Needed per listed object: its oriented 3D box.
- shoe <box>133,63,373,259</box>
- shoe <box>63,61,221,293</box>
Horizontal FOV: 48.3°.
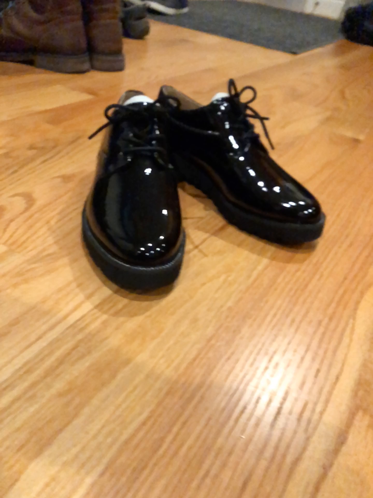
[{"bbox_3d":[0.054,-0.111,0.447,0.095,0.101,0.252,-20,44,-34],"label":"shoe"},{"bbox_3d":[-0.046,-0.084,0.381,0.095,0.101,0.253,2,36,-10],"label":"shoe"}]
